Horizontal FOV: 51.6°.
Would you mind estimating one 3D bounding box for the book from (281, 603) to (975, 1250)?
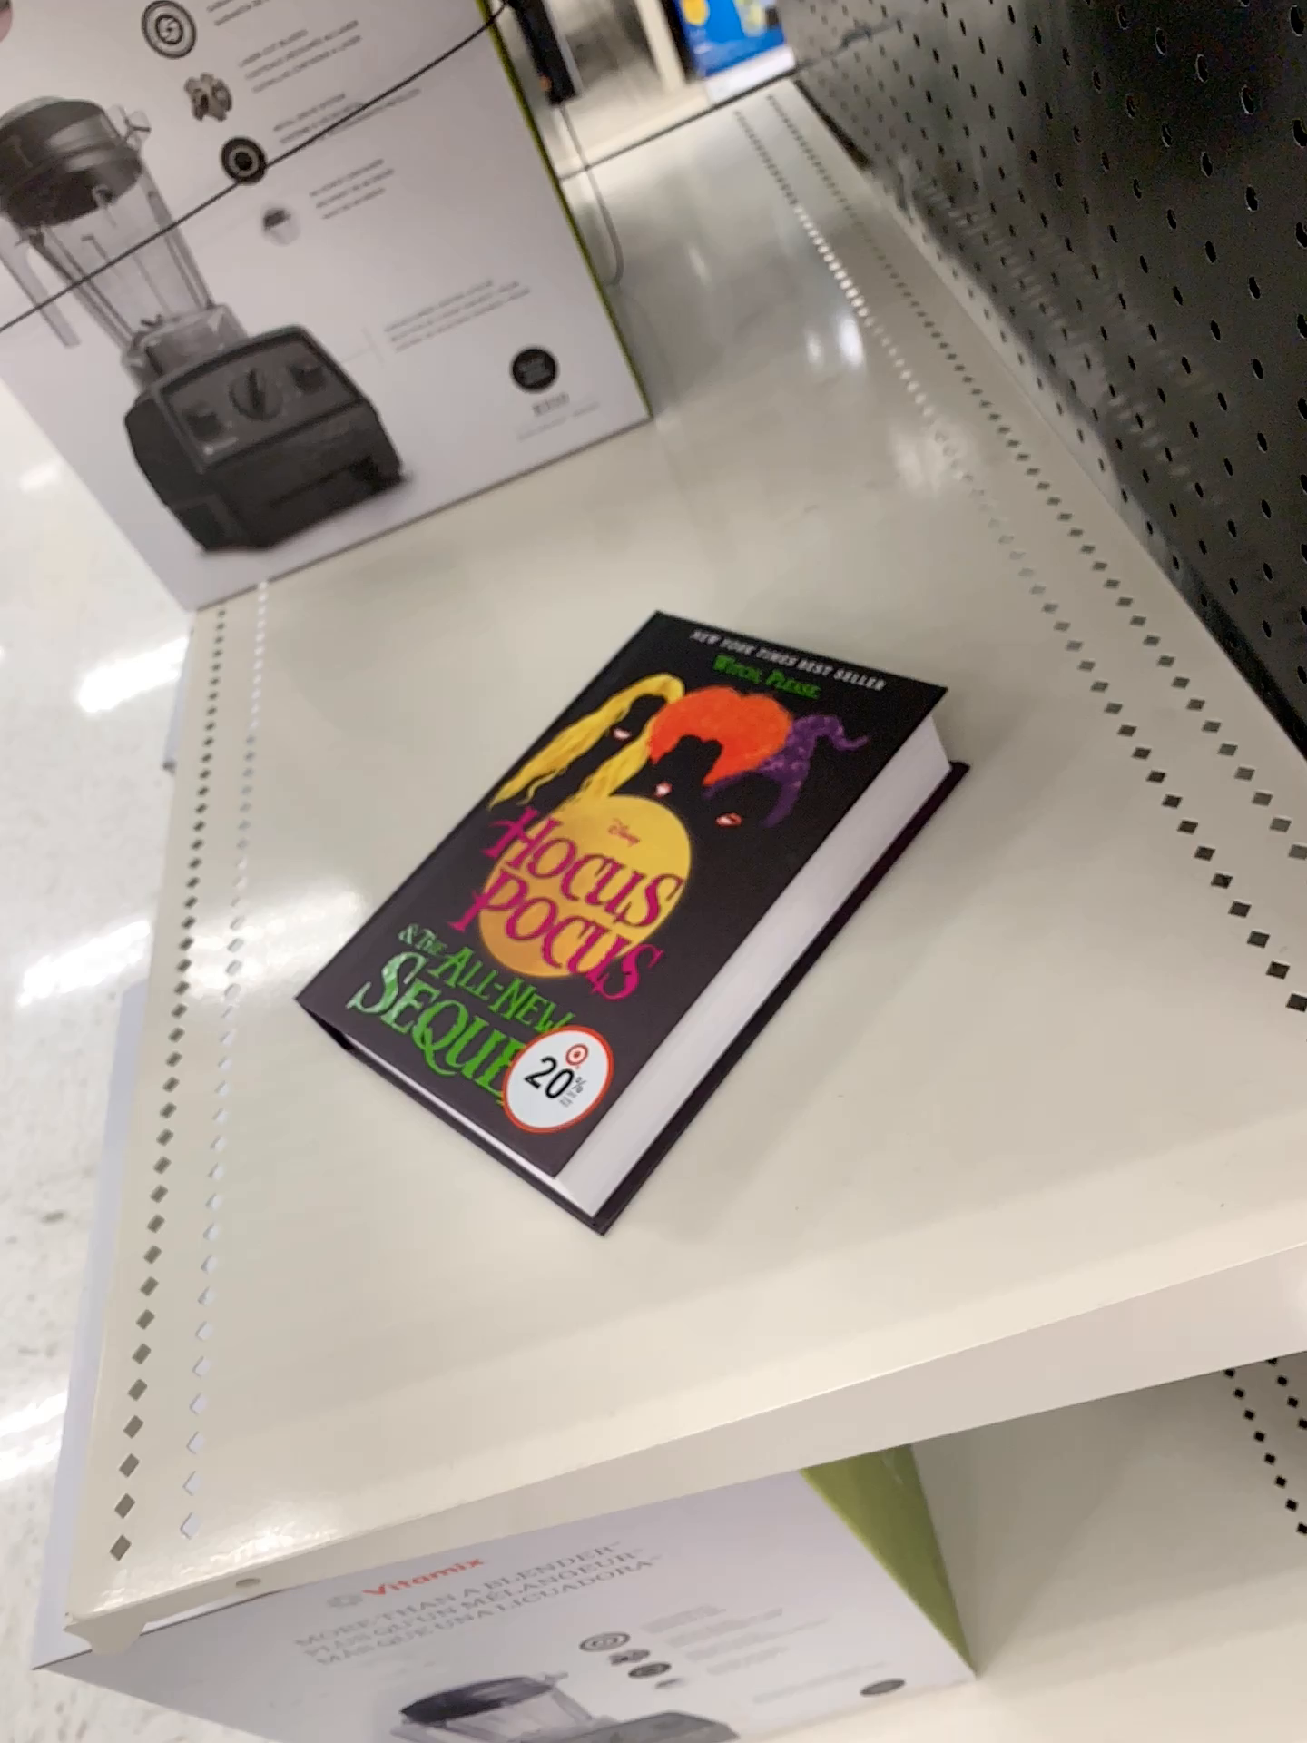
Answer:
[{"bbox_3d":[-0.008,0.005,0.490,0.149,0.050,0.209,24,65,39],"label":"book"}]
